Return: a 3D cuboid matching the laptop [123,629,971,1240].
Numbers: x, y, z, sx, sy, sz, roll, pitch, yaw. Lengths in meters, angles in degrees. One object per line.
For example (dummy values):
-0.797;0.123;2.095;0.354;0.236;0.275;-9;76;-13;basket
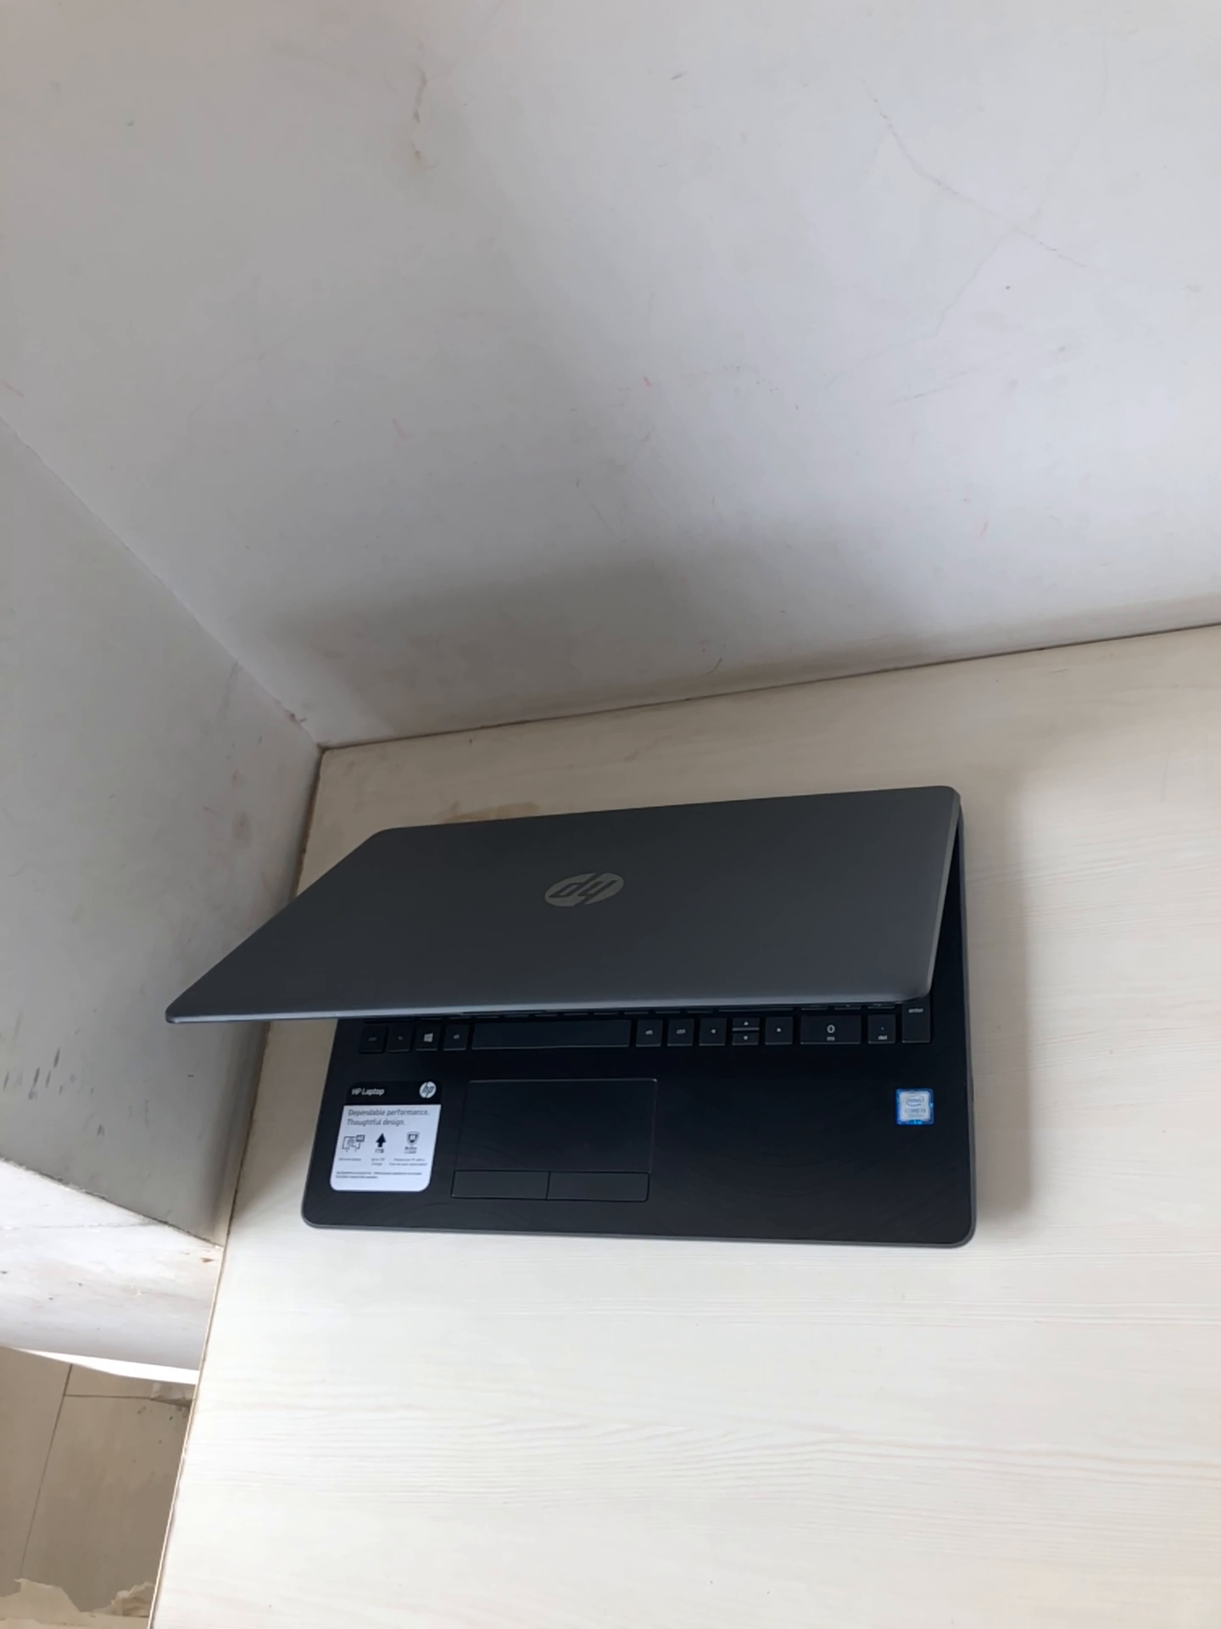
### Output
-0.016;0.068;0.683;0.356;0.157;0.245;-5;58;17;laptop
